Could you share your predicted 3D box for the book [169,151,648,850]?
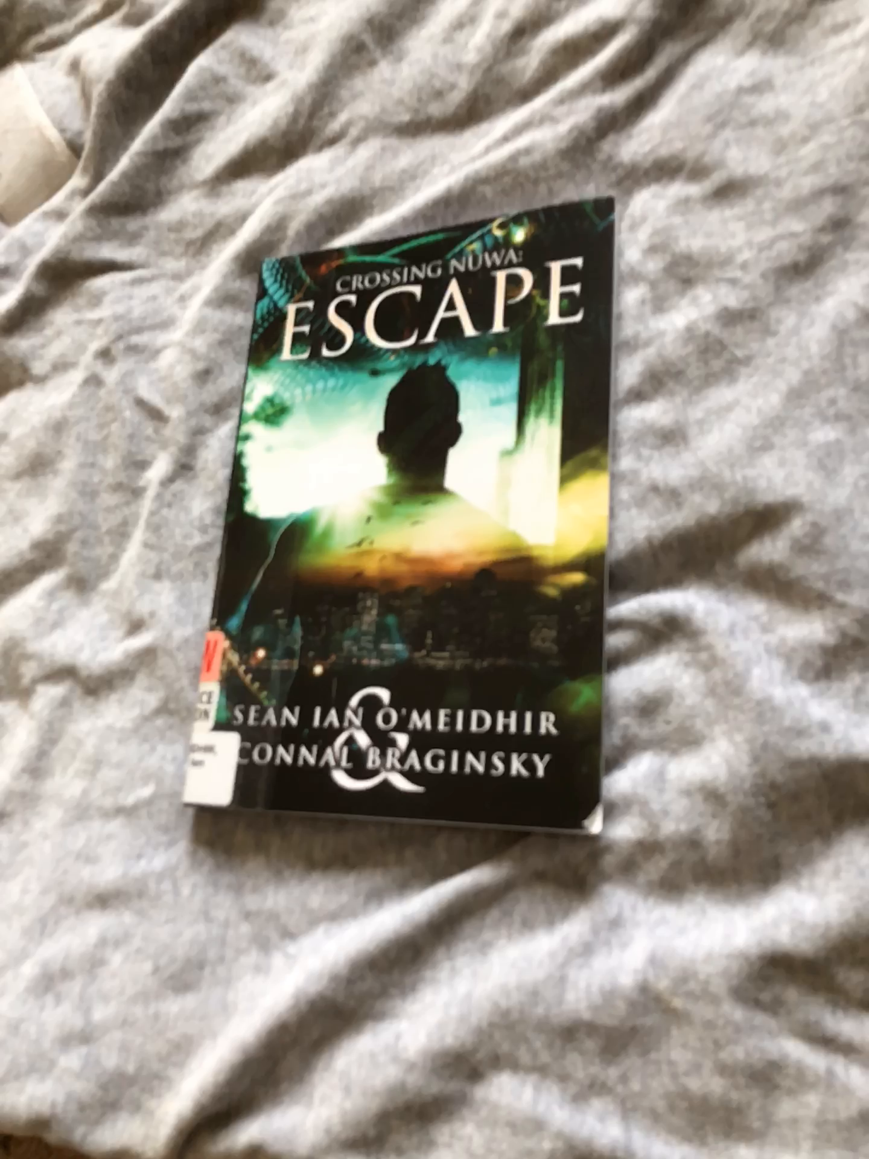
[{"bbox_3d":[-0.005,-0.034,0.361,0.160,0.030,0.250,-1,73,21],"label":"book"}]
